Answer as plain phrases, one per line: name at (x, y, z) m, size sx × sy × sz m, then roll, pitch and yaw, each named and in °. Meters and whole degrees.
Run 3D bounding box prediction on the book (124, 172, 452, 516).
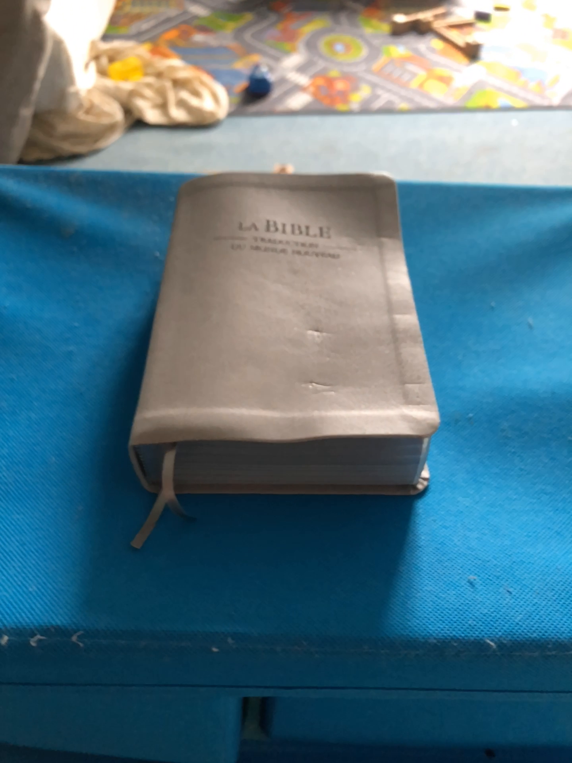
book at (0.001, -0.028, 0.314) m, size 0.121 × 0.051 × 0.181 m, roll 0°, pitch 50°, yaw 0°
